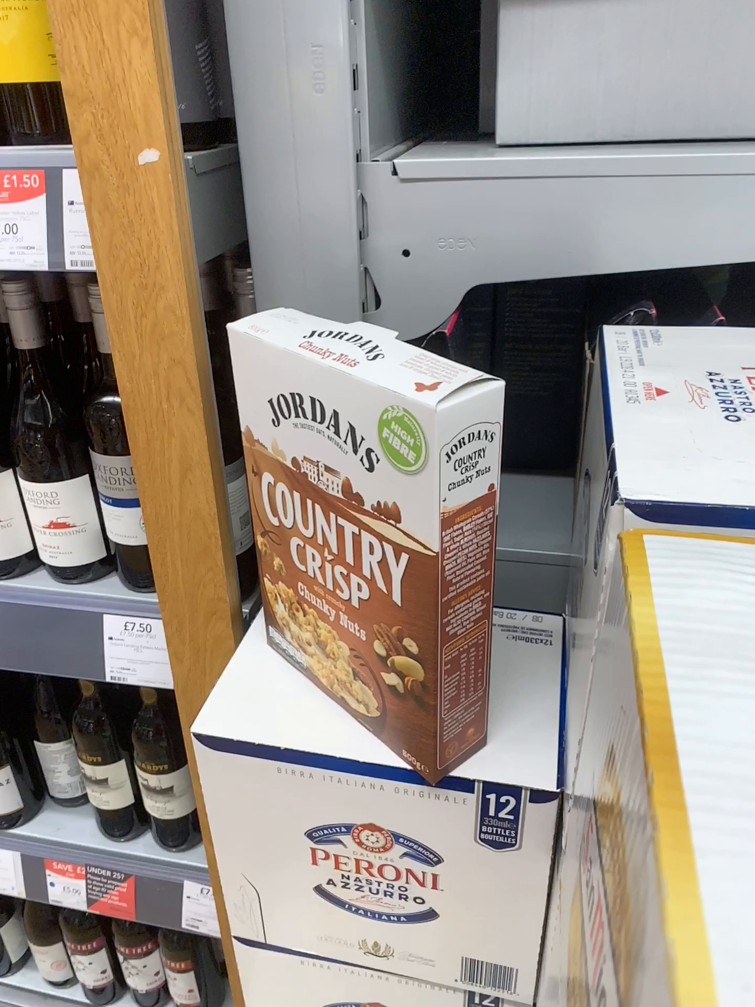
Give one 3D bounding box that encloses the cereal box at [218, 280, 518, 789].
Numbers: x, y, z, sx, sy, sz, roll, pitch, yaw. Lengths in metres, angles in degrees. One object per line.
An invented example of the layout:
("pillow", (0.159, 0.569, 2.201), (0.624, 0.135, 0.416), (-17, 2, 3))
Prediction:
("cereal box", (-0.011, 0.013, 0.476), (0.050, 0.258, 0.191), (-23, 35, -34))
